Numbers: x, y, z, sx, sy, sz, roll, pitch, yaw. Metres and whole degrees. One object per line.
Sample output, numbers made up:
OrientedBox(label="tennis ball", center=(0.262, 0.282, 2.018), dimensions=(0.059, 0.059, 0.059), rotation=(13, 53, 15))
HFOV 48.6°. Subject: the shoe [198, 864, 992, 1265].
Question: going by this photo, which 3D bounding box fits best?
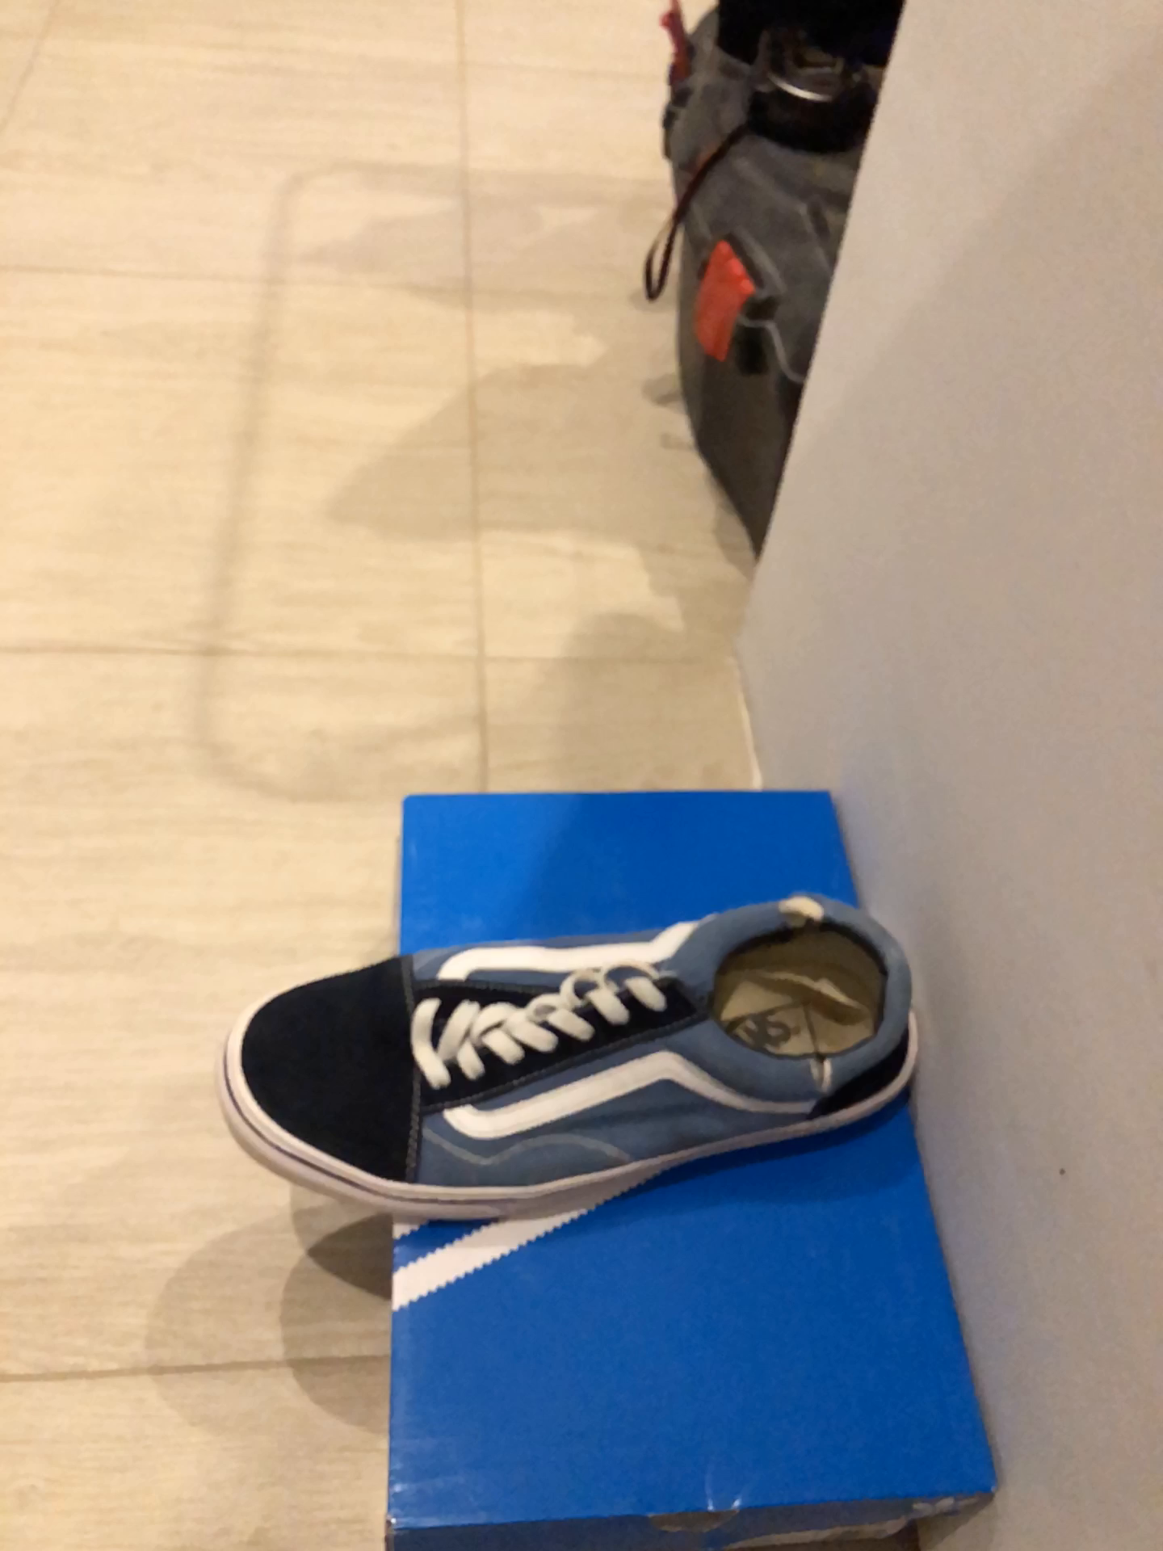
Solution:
OrientedBox(label="shoe", center=(0.000, 0.111, 0.512), dimensions=(0.280, 0.080, 0.111), rotation=(-3, 52, -9))
